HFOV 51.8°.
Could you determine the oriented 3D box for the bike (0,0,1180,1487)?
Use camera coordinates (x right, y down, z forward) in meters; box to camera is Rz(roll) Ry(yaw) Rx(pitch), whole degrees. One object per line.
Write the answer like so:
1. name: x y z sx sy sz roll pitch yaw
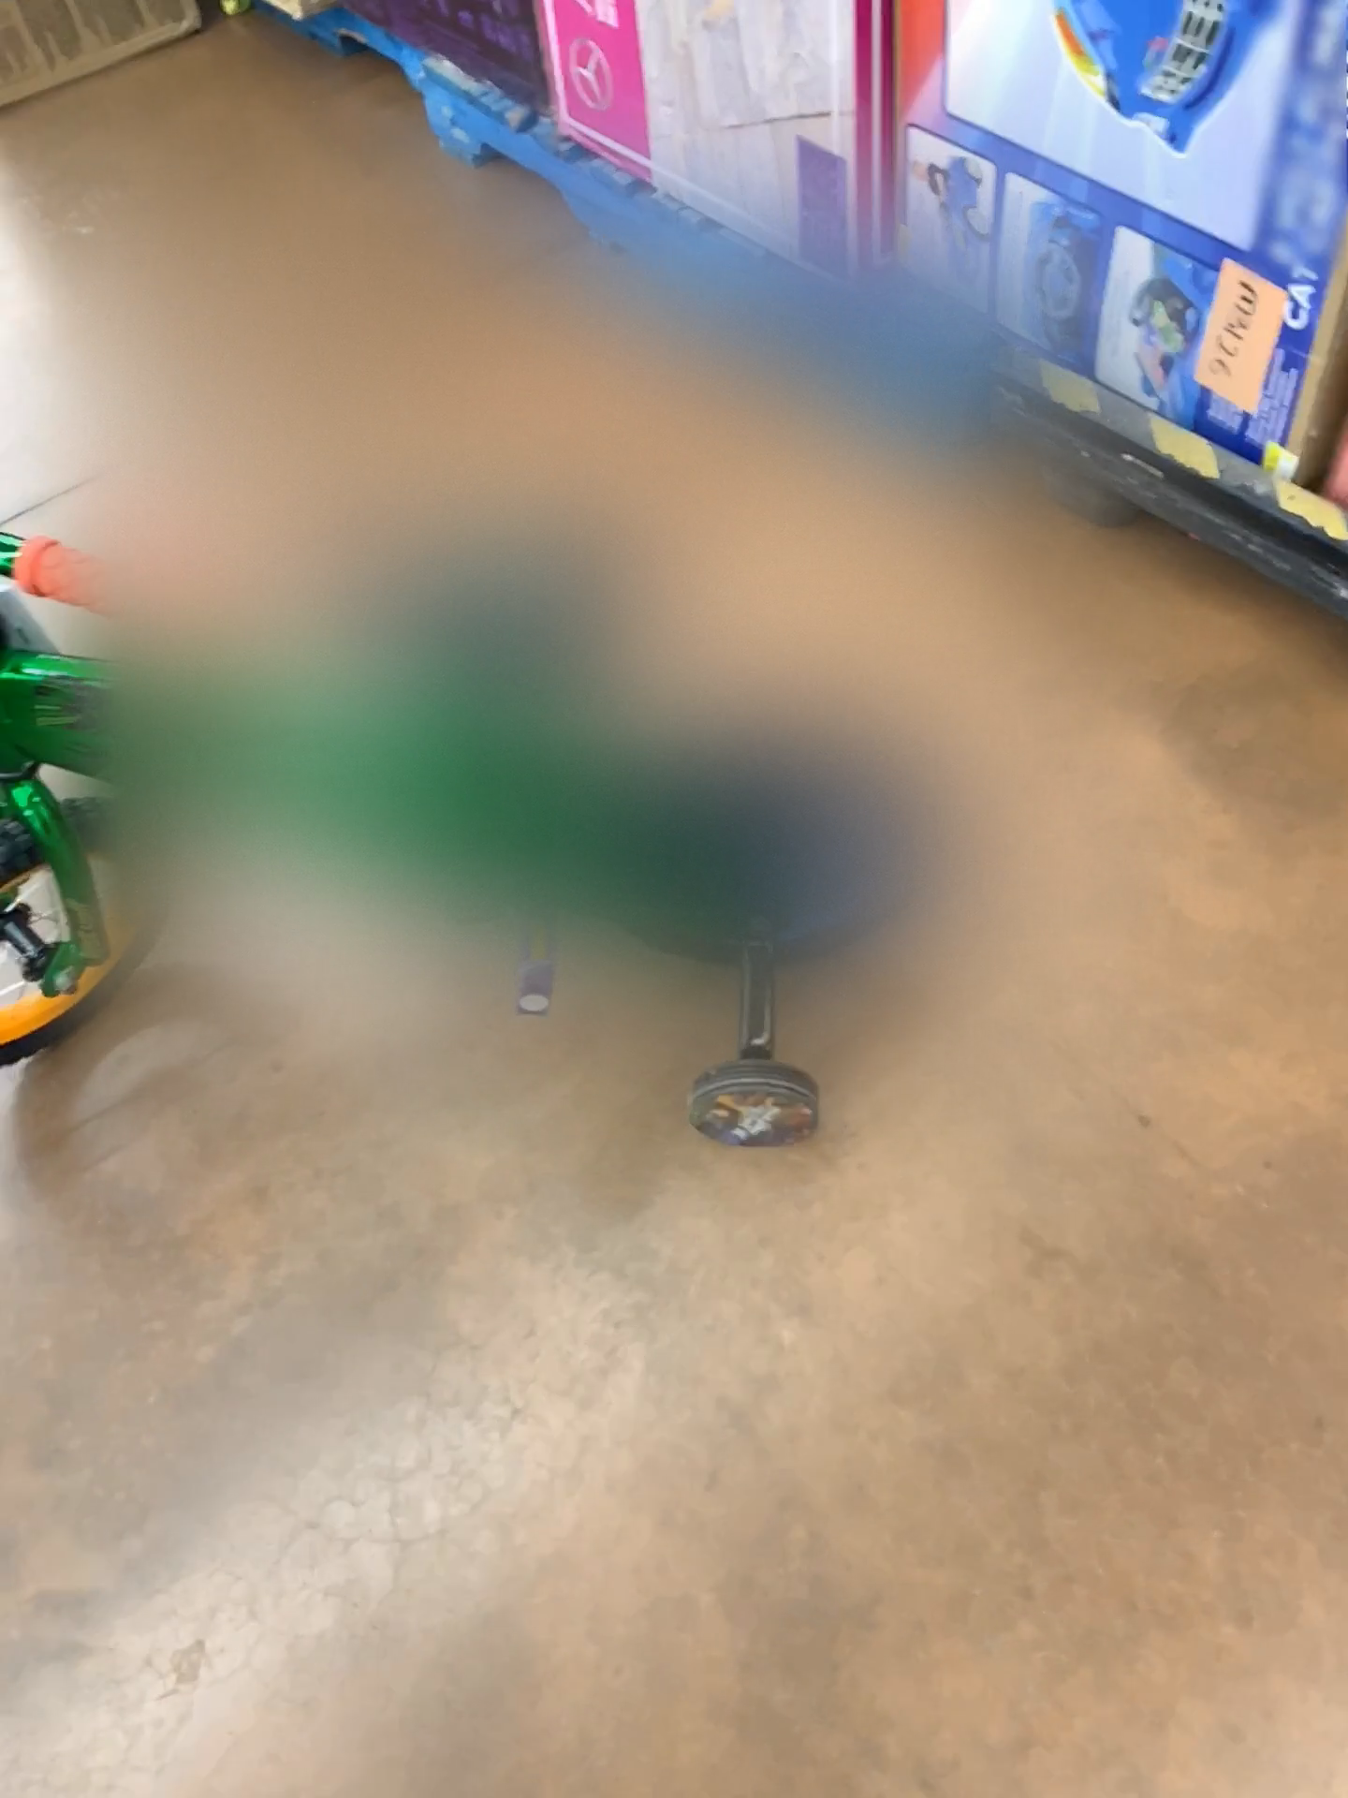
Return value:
1. bike: -0.218 -0.082 0.872 0.850 0.733 0.490 -10 53 -4
